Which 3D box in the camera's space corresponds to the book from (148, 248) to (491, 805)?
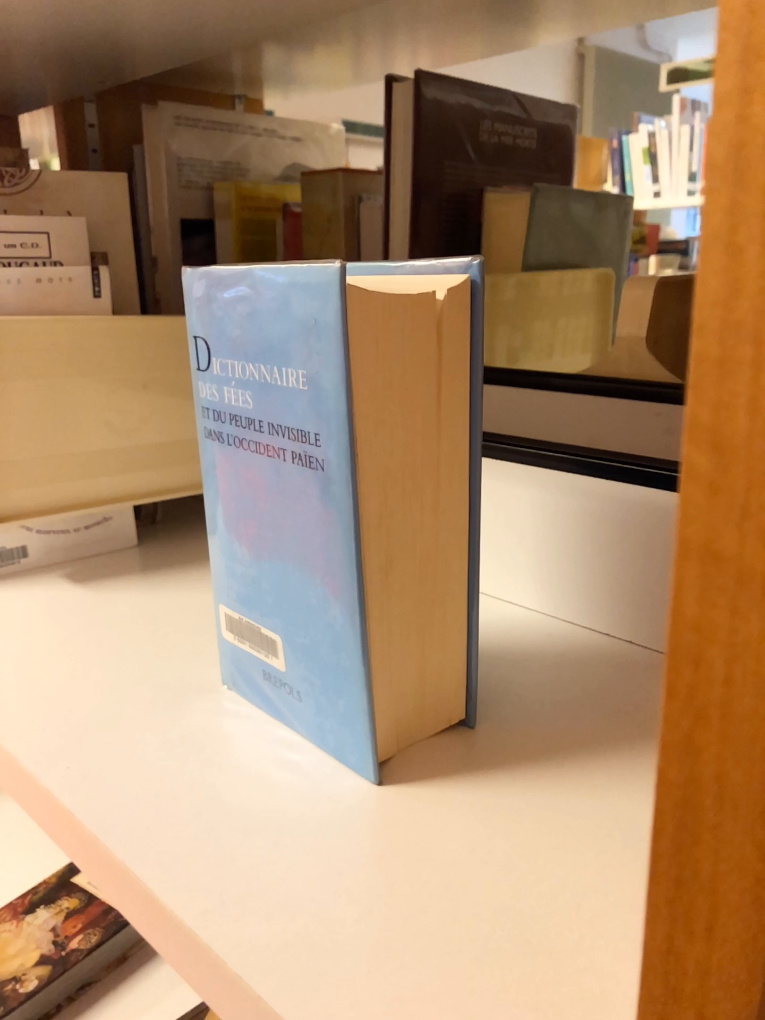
[{"bbox_3d":[-0.025,-0.004,0.337,0.060,0.186,0.125,-17,22,-38],"label":"book"}]
